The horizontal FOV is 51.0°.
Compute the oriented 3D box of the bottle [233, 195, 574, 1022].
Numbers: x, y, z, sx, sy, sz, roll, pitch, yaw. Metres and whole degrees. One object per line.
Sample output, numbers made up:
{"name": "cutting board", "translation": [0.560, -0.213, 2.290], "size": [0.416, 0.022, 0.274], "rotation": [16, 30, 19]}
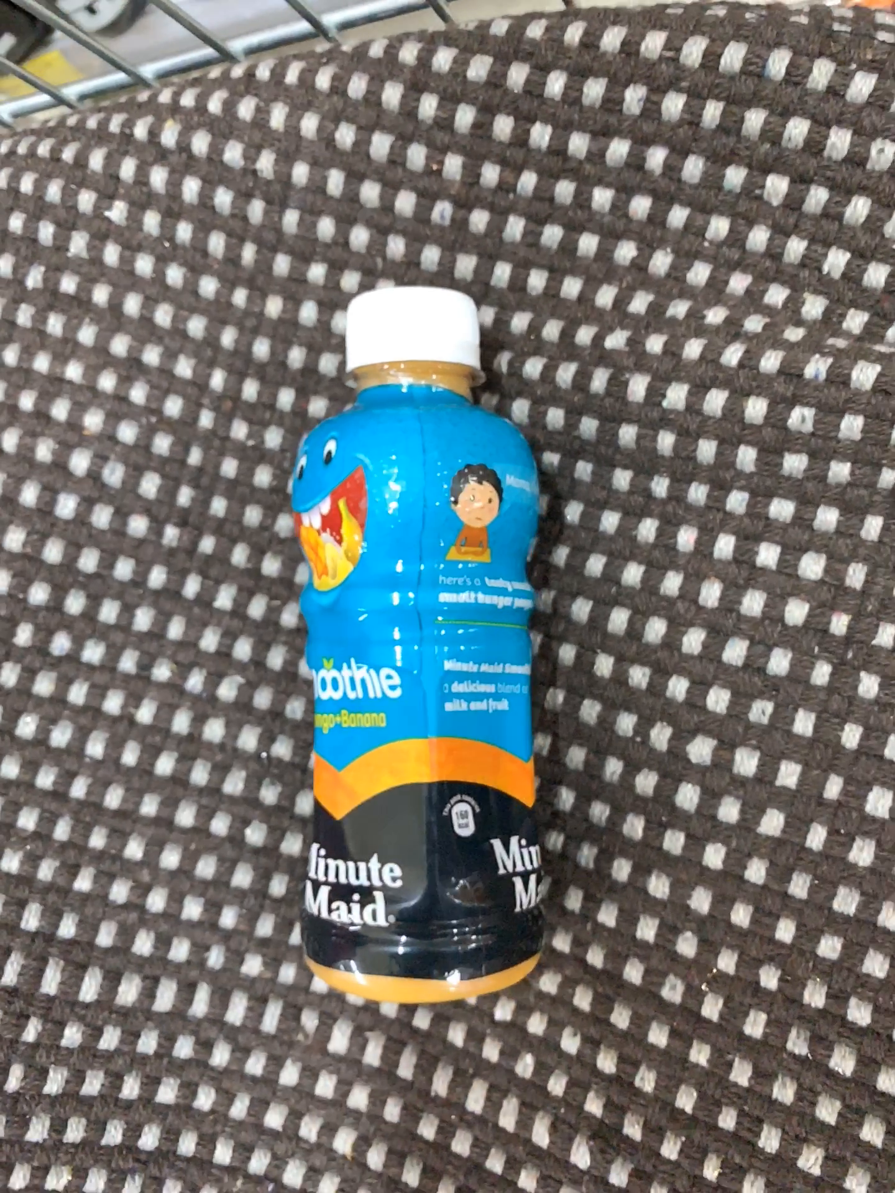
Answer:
{"name": "bottle", "translation": [-0.008, 0.003, 0.210], "size": [0.060, 0.040, 0.160], "rotation": [-2, 89, 18]}
